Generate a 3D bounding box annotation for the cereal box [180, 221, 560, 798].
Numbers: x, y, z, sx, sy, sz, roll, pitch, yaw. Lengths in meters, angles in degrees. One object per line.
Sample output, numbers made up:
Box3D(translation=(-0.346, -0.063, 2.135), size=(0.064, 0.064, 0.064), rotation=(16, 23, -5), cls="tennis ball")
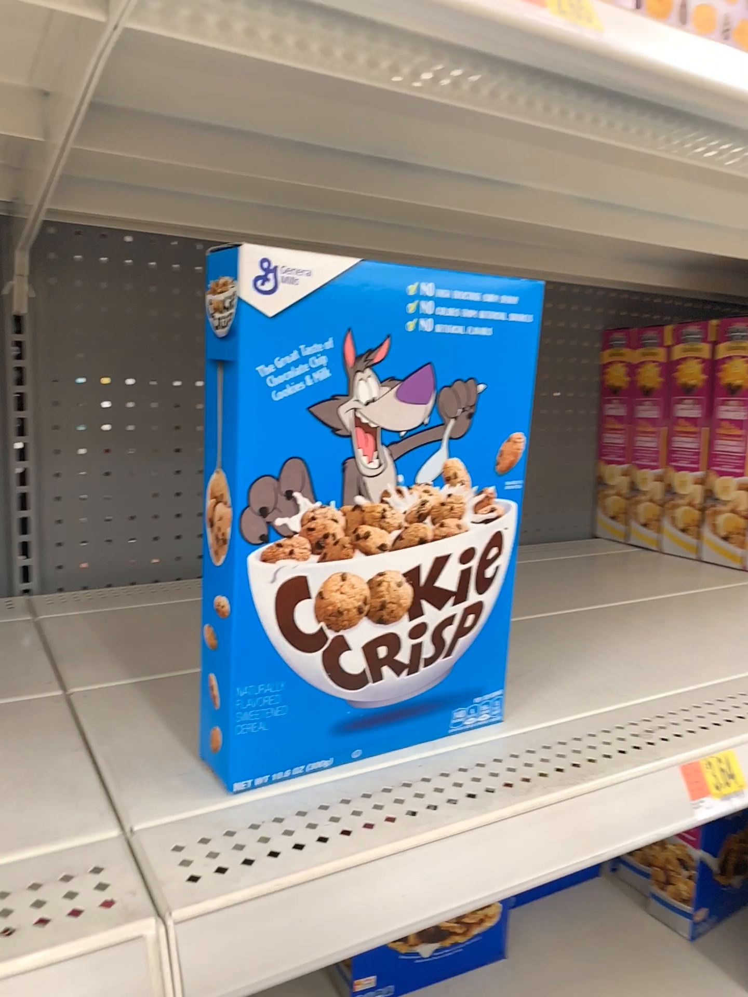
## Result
Box3D(translation=(0.001, 0.004, 0.443), size=(0.210, 0.279, 0.050), rotation=(-3, 12, -33), cls="cereal box")
